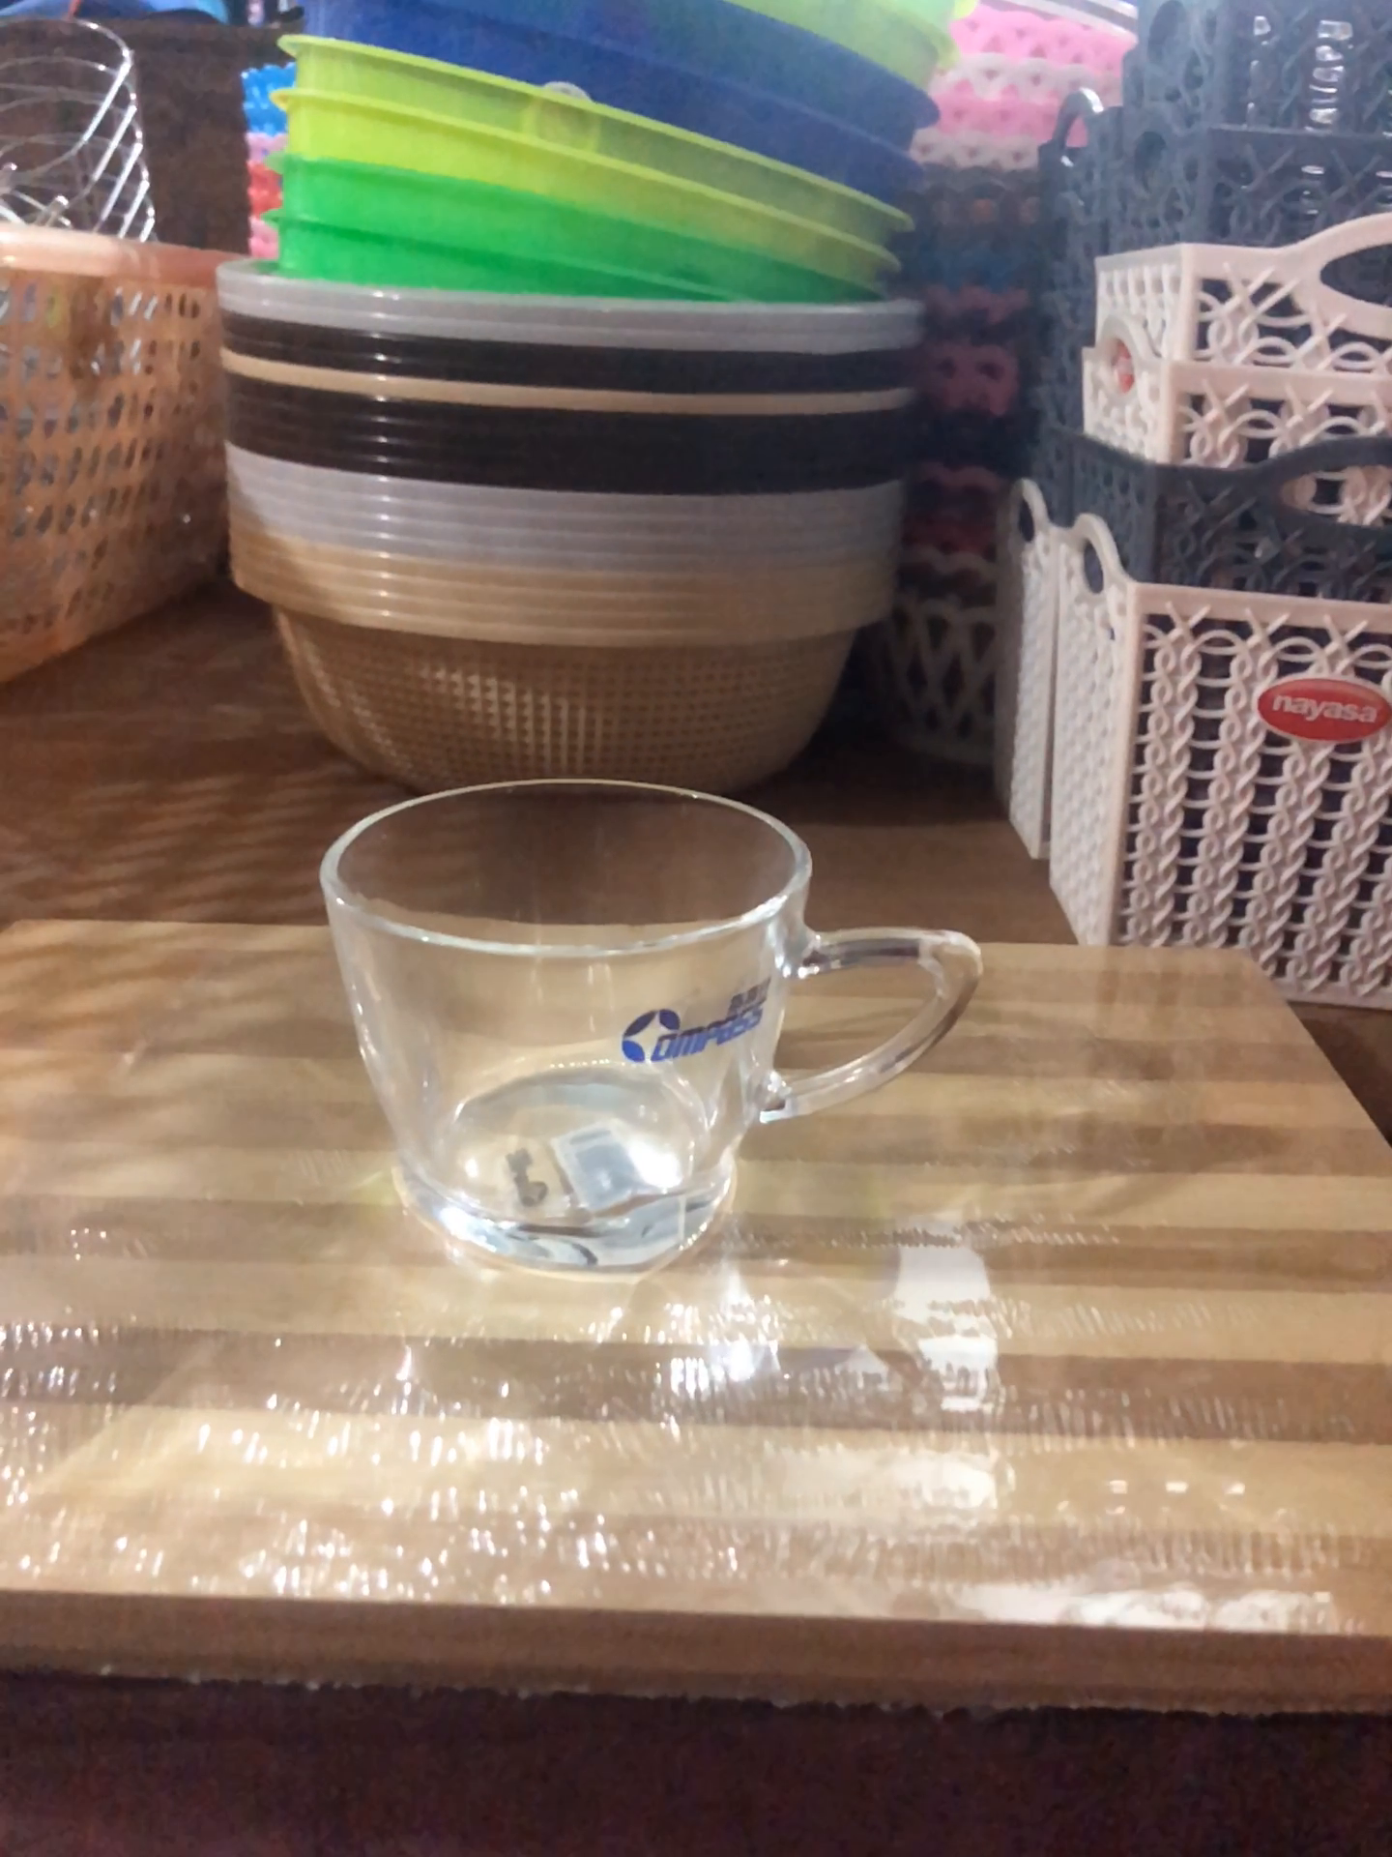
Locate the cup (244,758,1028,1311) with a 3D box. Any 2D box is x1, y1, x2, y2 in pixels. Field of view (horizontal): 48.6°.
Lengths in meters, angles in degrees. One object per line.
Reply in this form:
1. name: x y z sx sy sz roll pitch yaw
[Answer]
1. cup: -0.006 0.013 0.258 0.110 0.060 0.070 3 23 5
